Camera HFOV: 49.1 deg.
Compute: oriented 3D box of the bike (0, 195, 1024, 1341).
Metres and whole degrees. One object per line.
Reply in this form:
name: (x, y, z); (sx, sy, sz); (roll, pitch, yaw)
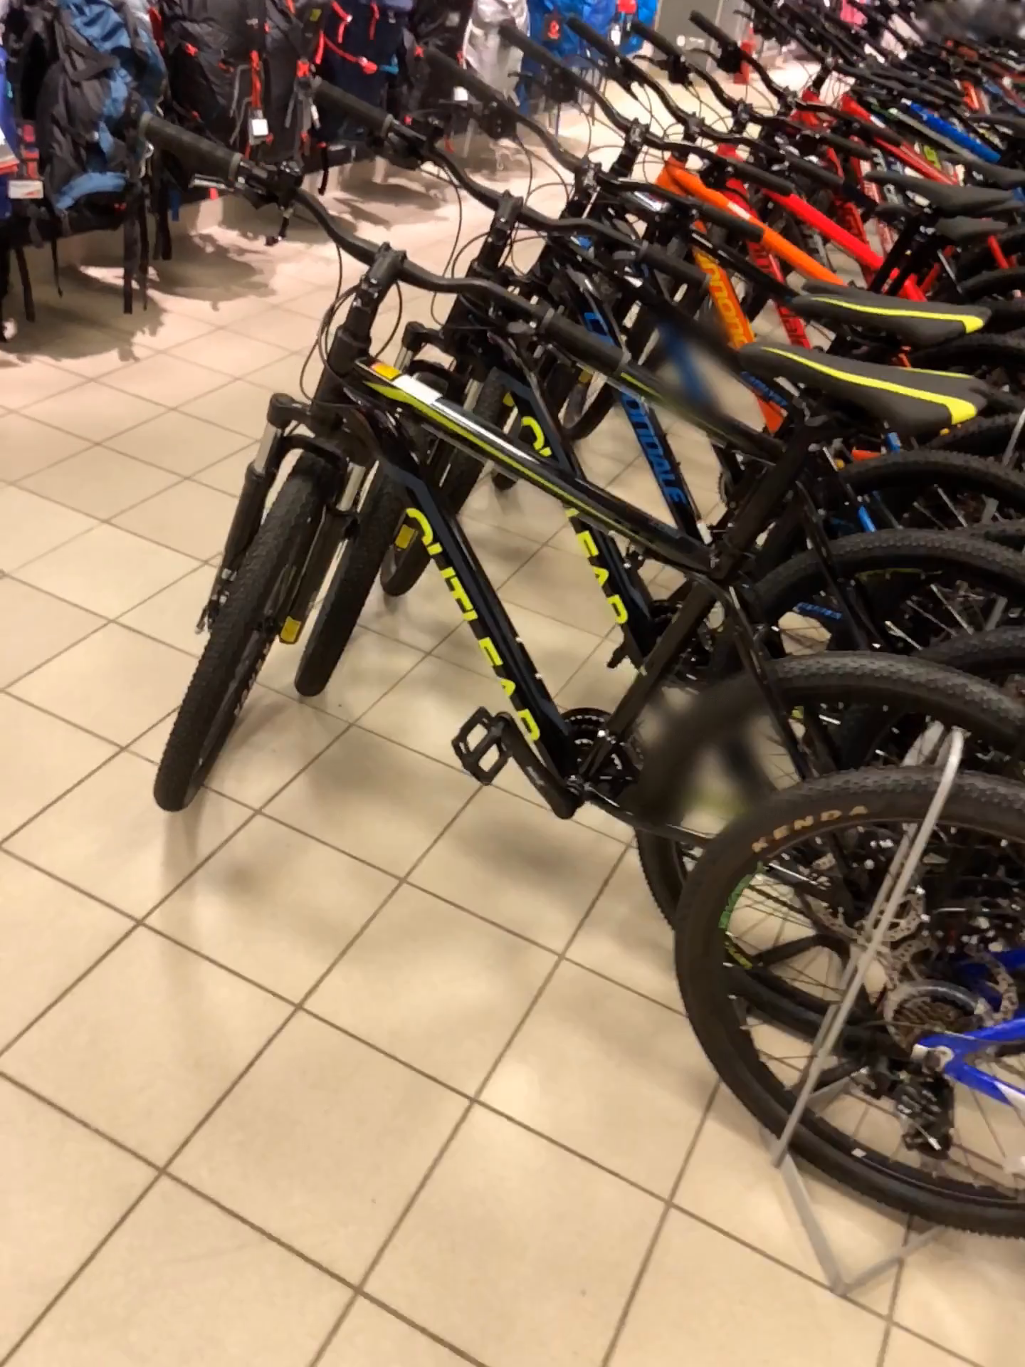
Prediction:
bike: (0.146, 0.087, 1.384); (1.352, 1.044, 0.665); (14, 35, 10)
